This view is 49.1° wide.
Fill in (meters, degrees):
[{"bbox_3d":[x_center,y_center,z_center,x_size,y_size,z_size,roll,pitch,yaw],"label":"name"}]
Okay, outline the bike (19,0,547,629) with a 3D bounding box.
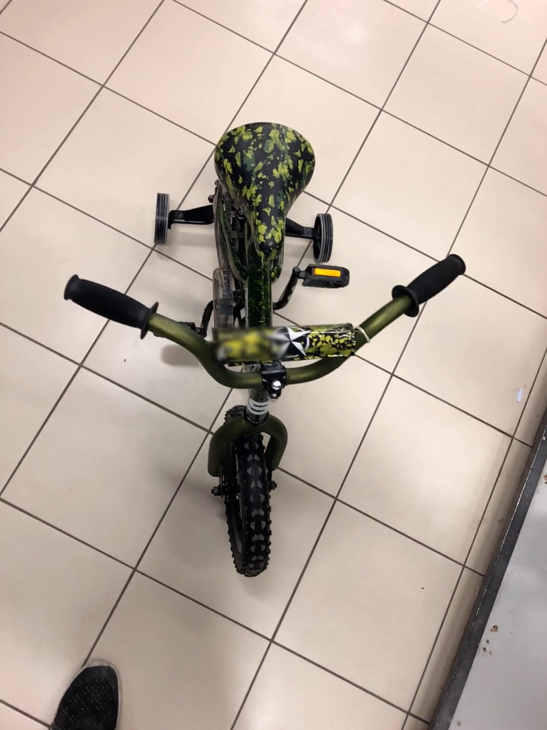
[{"bbox_3d":[-0.015,-0.083,0.960,0.532,0.559,0.816,0,74,-7],"label":"bike"}]
